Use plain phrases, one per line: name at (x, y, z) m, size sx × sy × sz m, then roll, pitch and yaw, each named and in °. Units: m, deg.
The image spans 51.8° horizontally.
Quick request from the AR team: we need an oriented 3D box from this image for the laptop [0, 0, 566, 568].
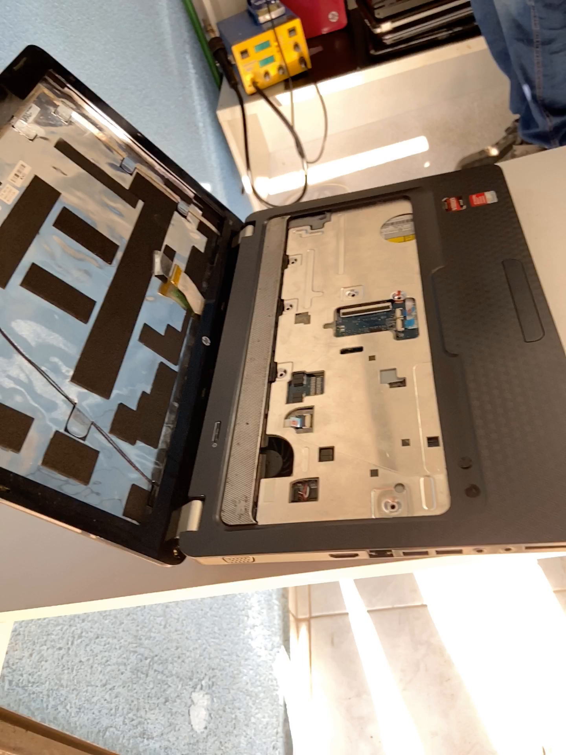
laptop at (-0.024, -0.090, 0.364) m, size 0.349 × 0.179 × 0.340 m, roll -7°, pitch 47°, yaw 14°
